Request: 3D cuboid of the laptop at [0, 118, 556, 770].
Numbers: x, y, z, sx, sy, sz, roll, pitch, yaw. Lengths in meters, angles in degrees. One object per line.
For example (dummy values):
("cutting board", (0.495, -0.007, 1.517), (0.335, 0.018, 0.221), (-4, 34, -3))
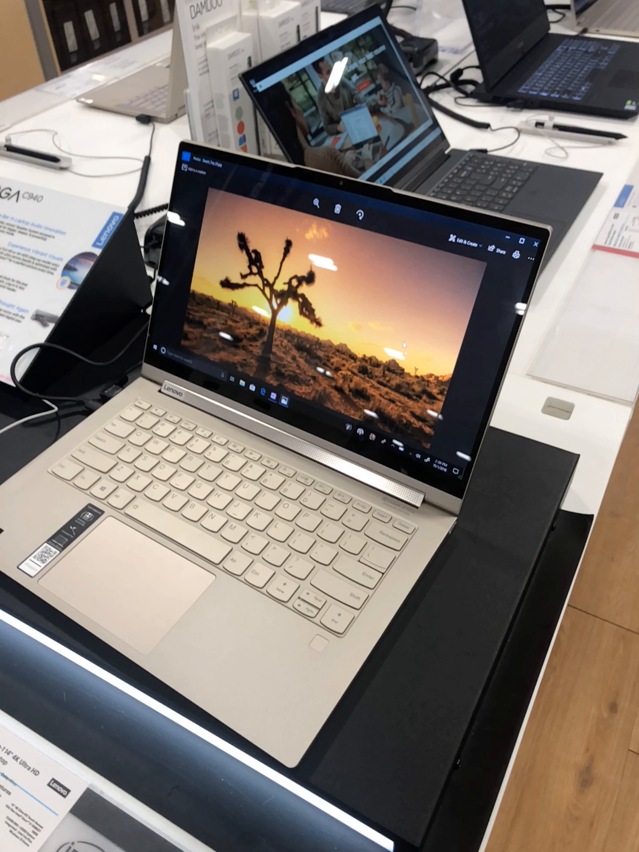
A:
("laptop", (-0.062, -0.036, 0.495), (0.320, 0.170, 0.327), (23, 52, 26))
